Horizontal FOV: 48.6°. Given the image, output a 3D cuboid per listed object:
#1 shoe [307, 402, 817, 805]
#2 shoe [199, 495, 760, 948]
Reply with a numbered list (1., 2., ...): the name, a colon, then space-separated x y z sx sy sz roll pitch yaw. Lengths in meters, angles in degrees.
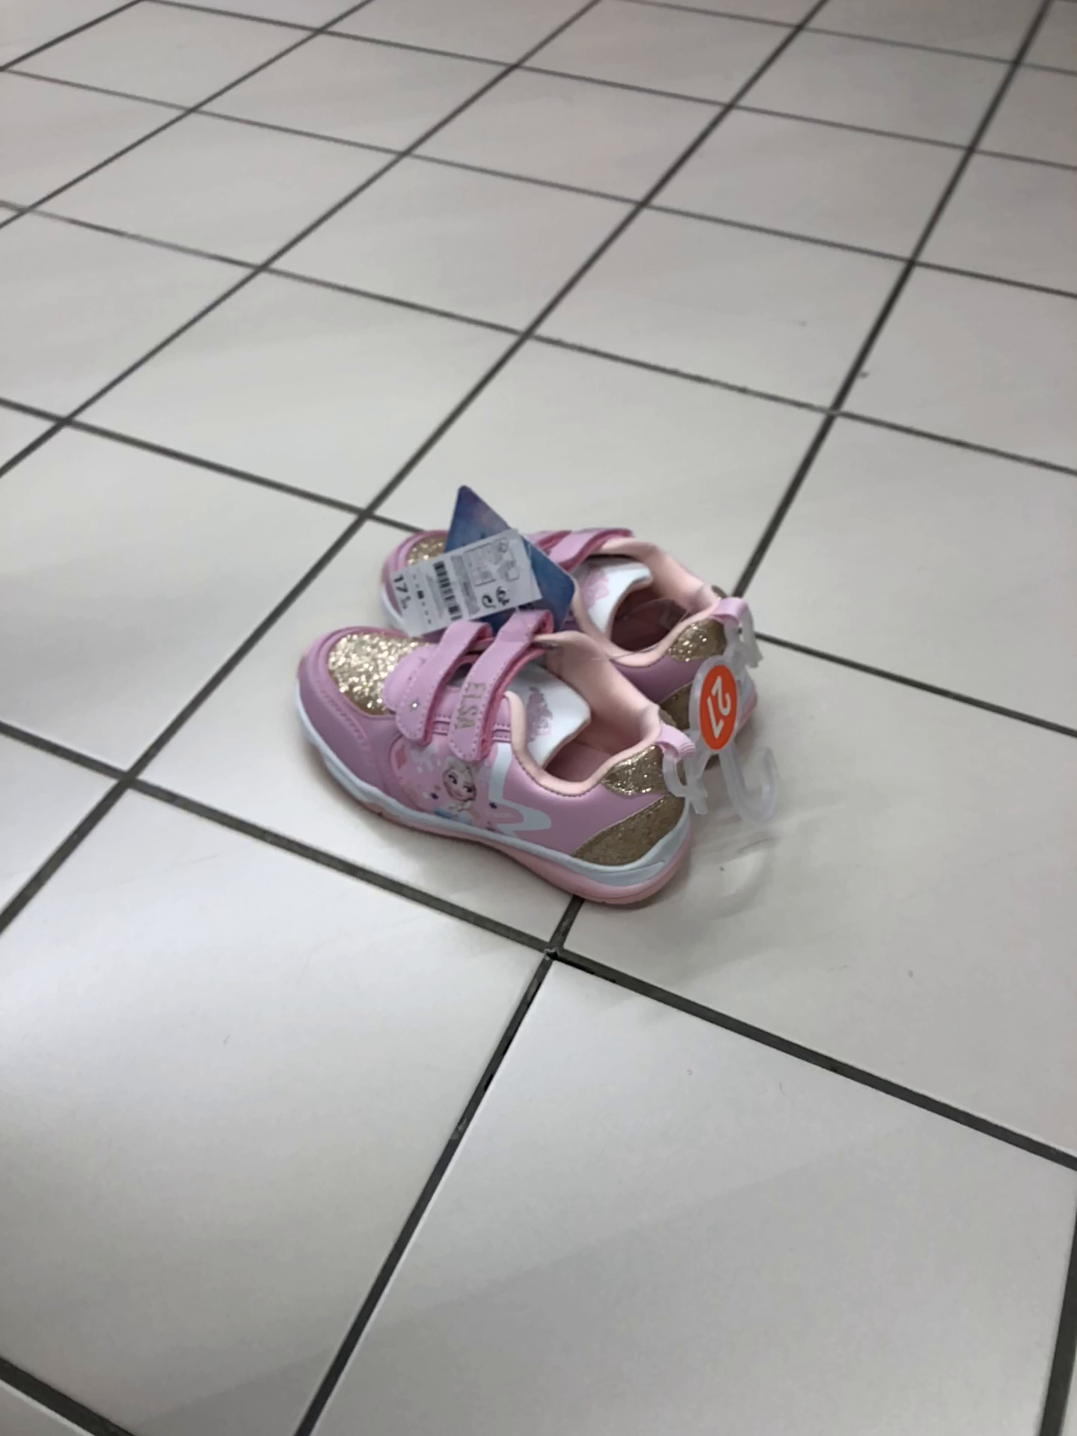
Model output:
1. shoe: 0.008 -0.054 0.525 0.195 0.087 0.083 22 51 18
2. shoe: -0.023 -0.003 0.478 0.195 0.087 0.083 22 51 18
